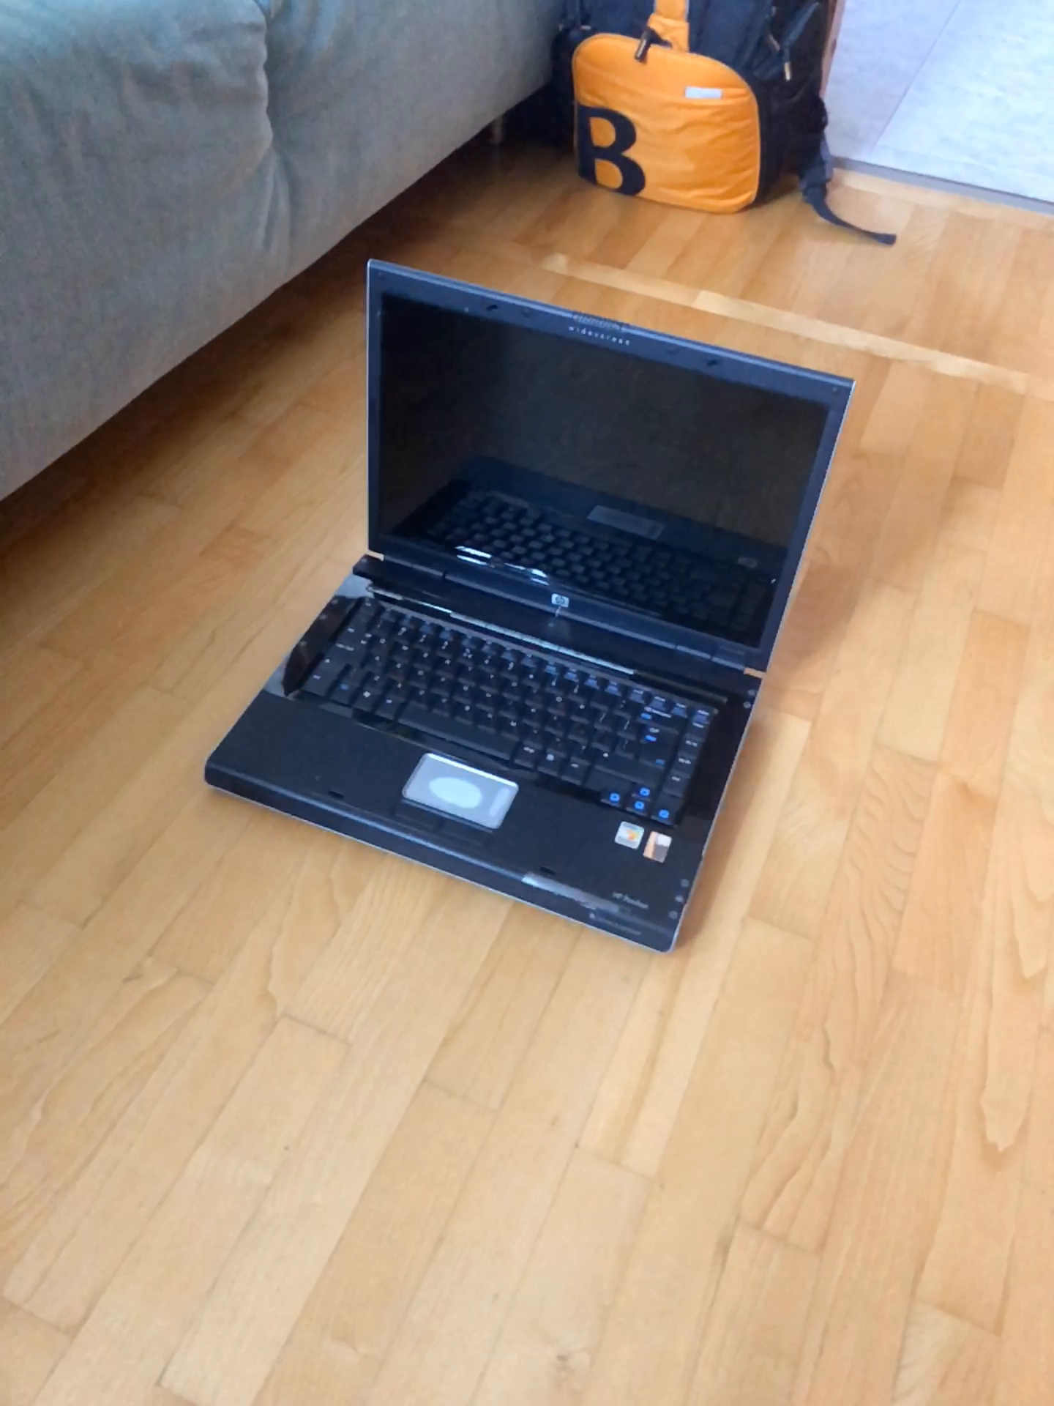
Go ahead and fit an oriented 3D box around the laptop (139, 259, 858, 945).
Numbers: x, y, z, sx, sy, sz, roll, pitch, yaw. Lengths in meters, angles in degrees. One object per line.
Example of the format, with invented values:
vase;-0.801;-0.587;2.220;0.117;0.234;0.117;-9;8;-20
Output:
laptop;-0.007;-0.085;0.822;0.363;0.254;0.308;18;49;12
